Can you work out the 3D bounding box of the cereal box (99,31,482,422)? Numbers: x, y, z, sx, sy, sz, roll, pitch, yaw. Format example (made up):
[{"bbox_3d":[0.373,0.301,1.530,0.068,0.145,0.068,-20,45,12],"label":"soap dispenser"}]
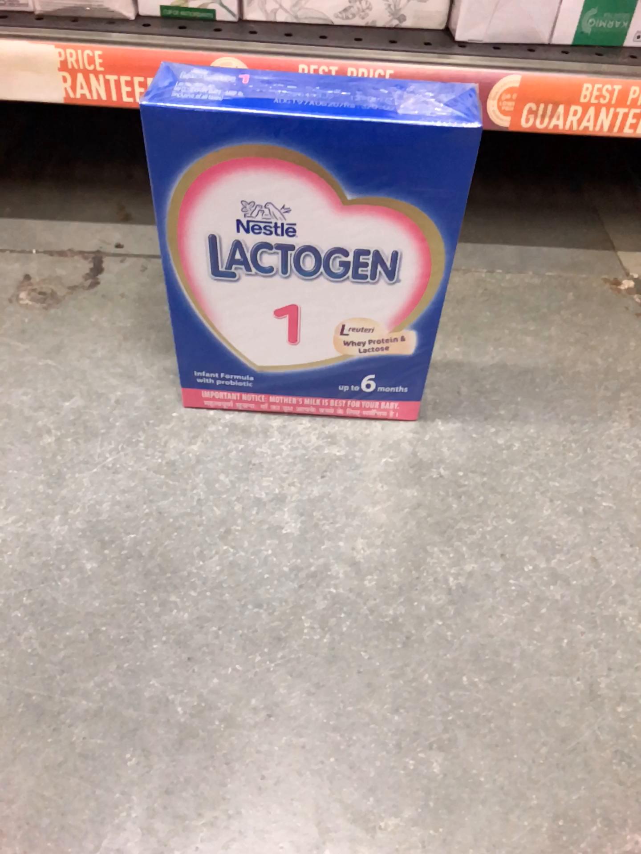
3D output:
[{"bbox_3d":[-0.017,-0.093,0.387,0.160,0.199,0.050,3,47,-1],"label":"cereal box"}]
